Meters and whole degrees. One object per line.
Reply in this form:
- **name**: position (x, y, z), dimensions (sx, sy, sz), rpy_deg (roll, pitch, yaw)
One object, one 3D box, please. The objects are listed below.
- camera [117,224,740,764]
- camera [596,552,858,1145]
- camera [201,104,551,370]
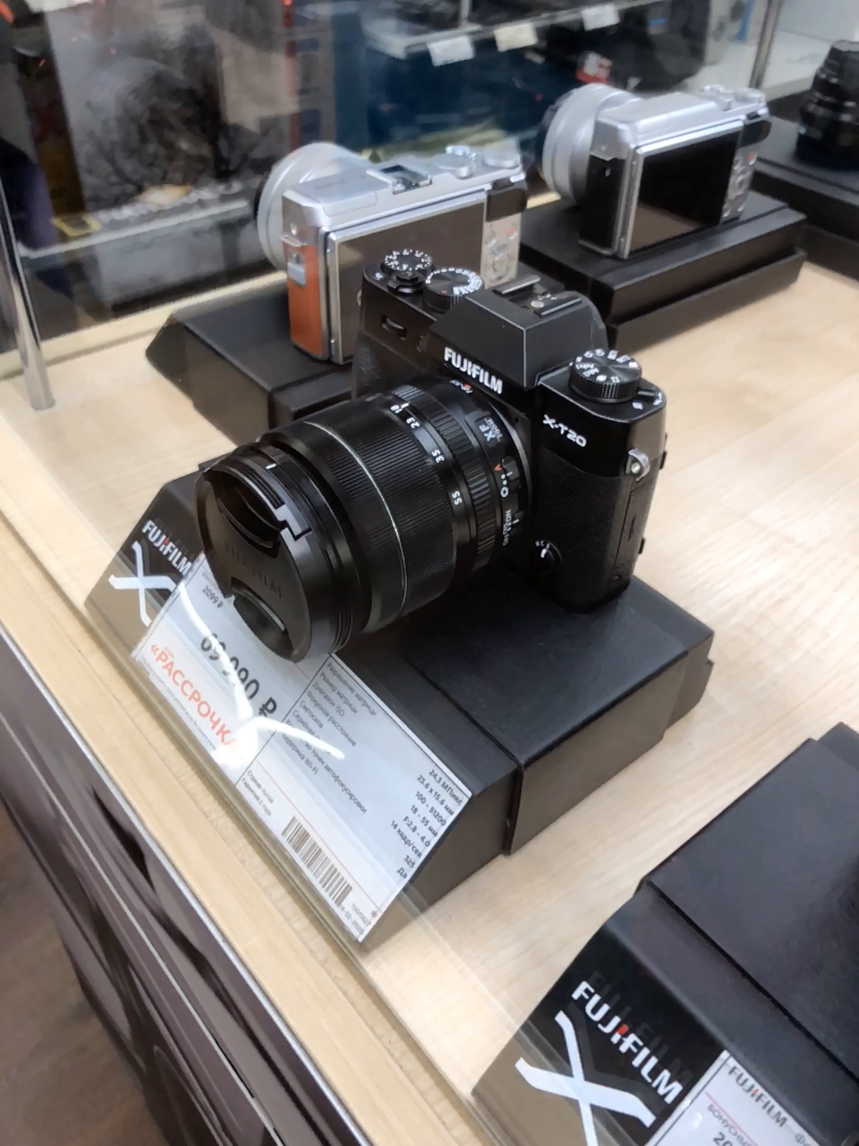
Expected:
- **camera**: position (-0.003, -0.036, 0.299), dimensions (0.130, 0.080, 0.122), rpy_deg (-25, 49, -29)
- **camera**: position (0.124, 0.081, 0.165), dimensions (0.124, 0.072, 0.130), rpy_deg (-27, 50, -31)
- **camera**: position (-0.021, -0.148, 0.411), dimensions (0.122, 0.063, 0.074), rpy_deg (-27, 50, -31)
